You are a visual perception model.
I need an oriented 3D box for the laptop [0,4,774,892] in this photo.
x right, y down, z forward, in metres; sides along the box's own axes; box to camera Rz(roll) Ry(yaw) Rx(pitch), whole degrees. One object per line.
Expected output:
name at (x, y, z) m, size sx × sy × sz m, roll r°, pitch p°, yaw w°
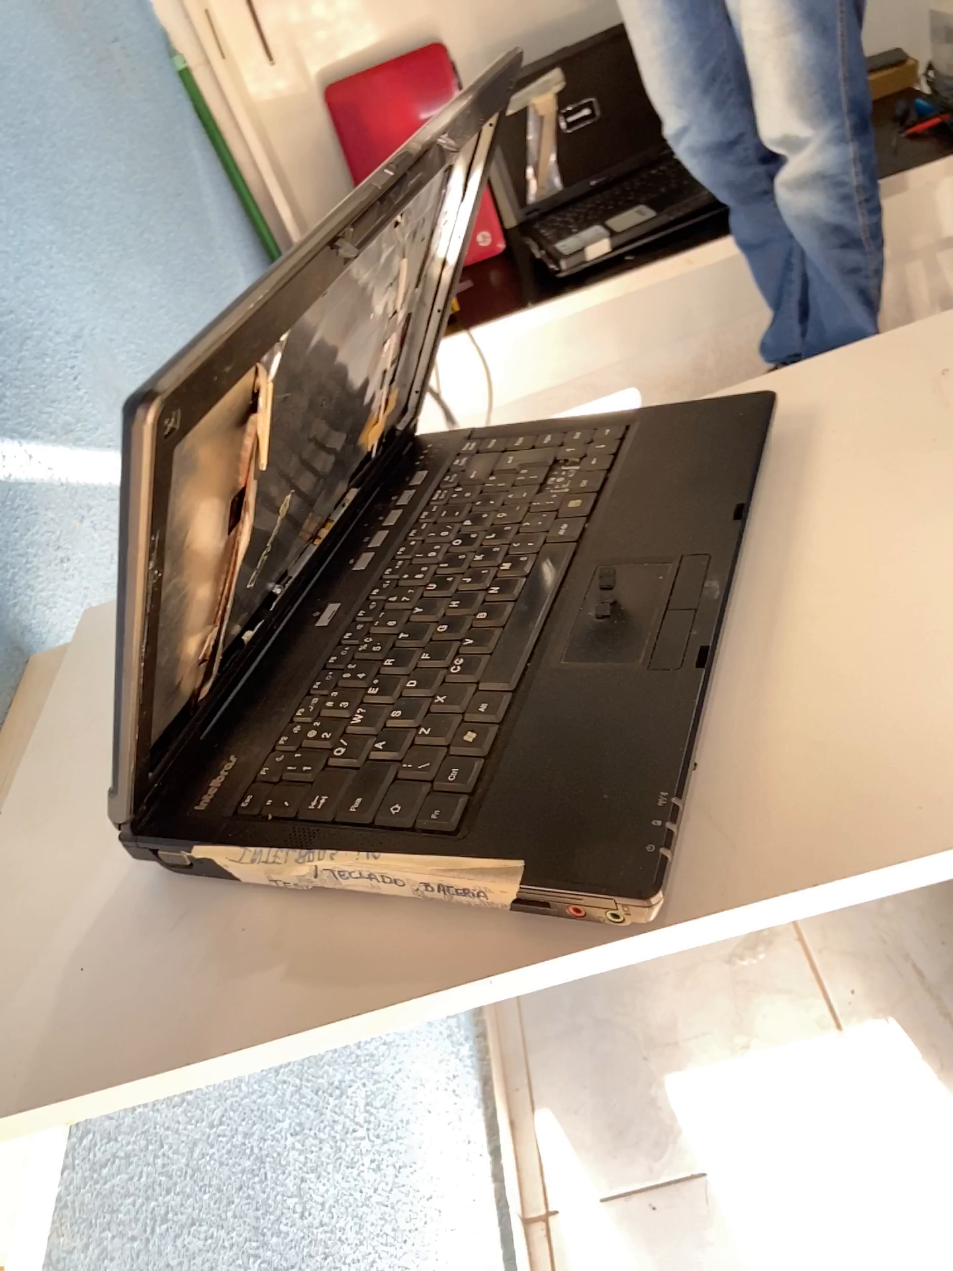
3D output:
laptop at (-0.023, -0.093, 0.424) m, size 0.231 × 0.191 × 0.324 m, roll -2°, pitch 40°, yaw 27°
